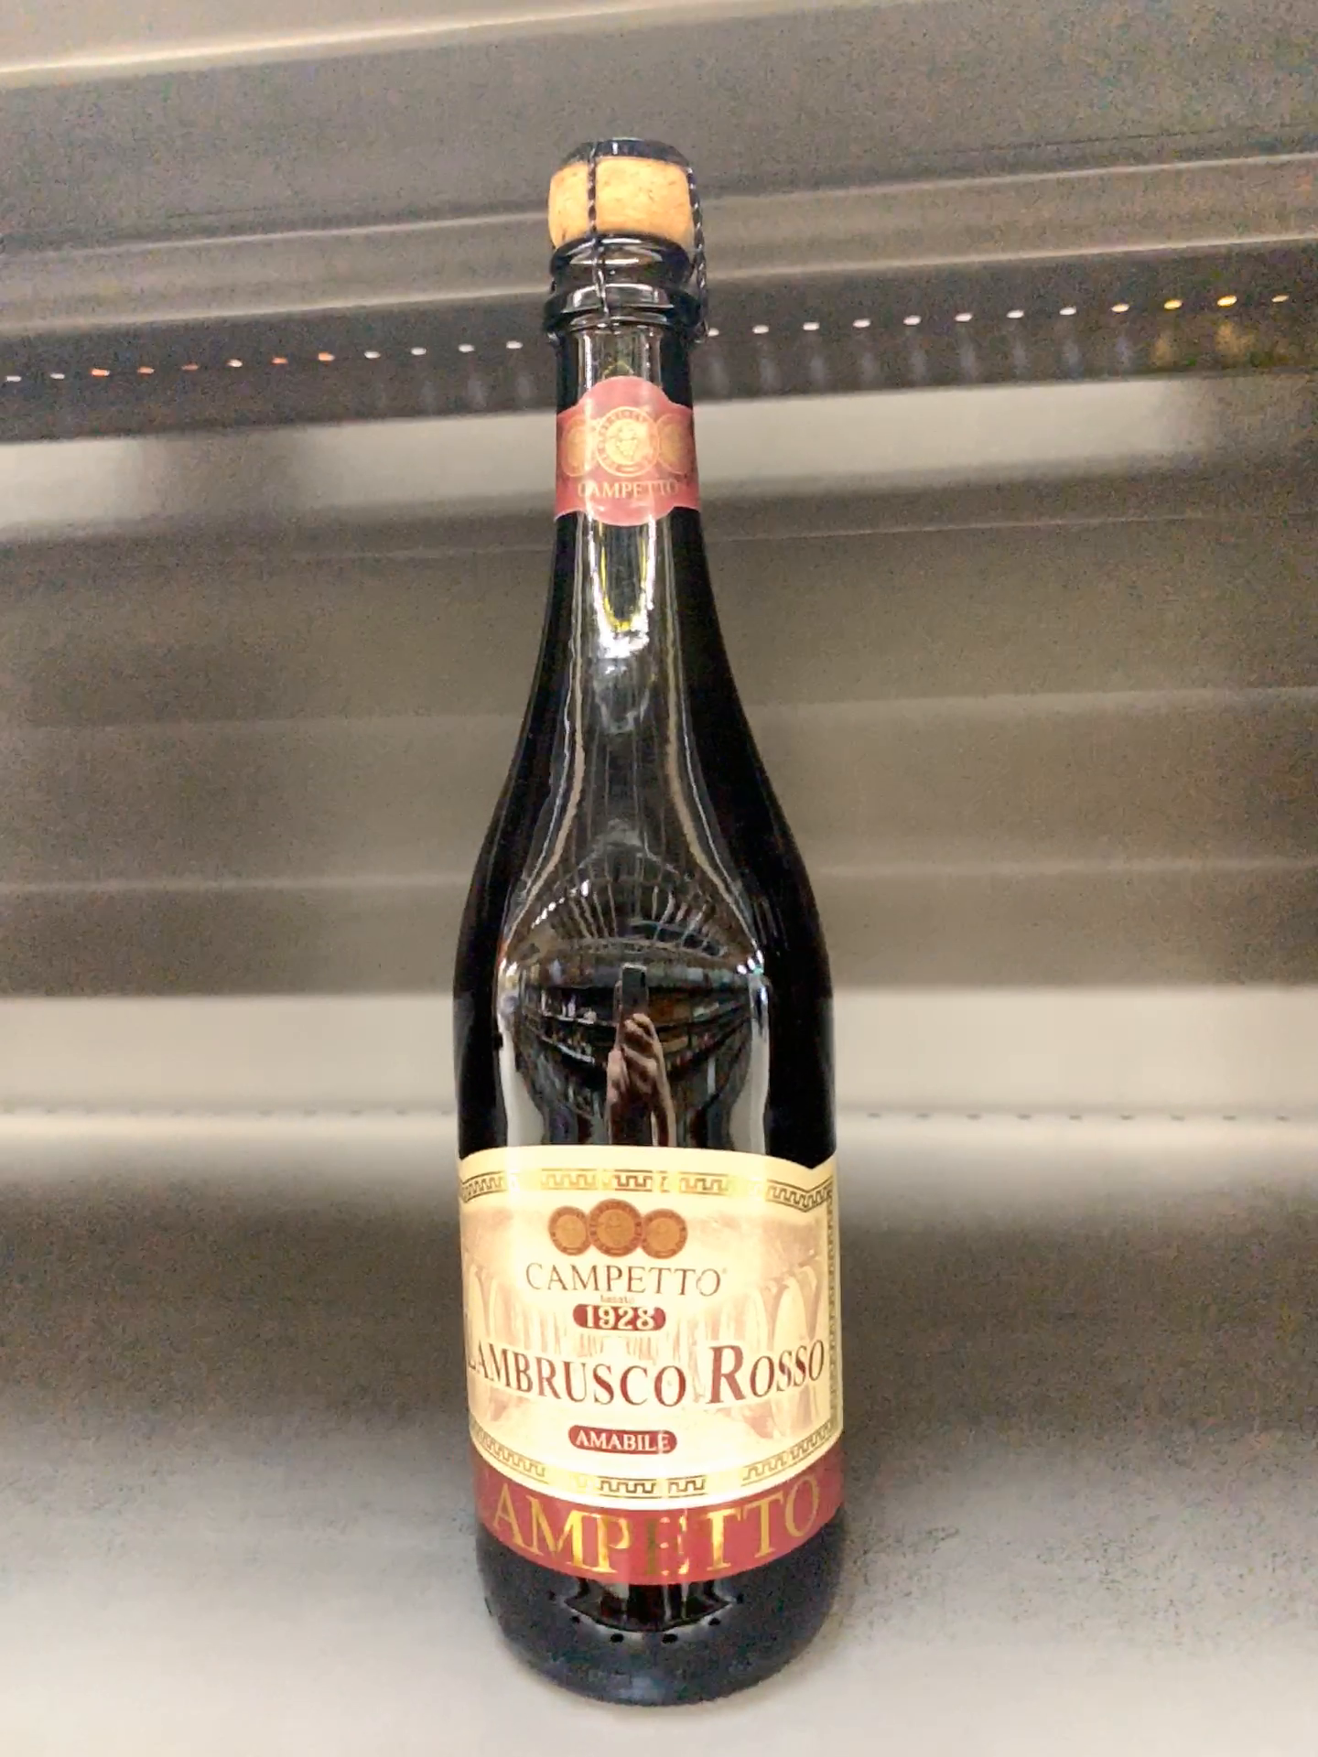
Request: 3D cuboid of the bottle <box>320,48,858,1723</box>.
[{"bbox_3d":[-0.008,0.005,0.287,0.090,0.300,0.080,-1,4,5],"label":"bottle"}]
